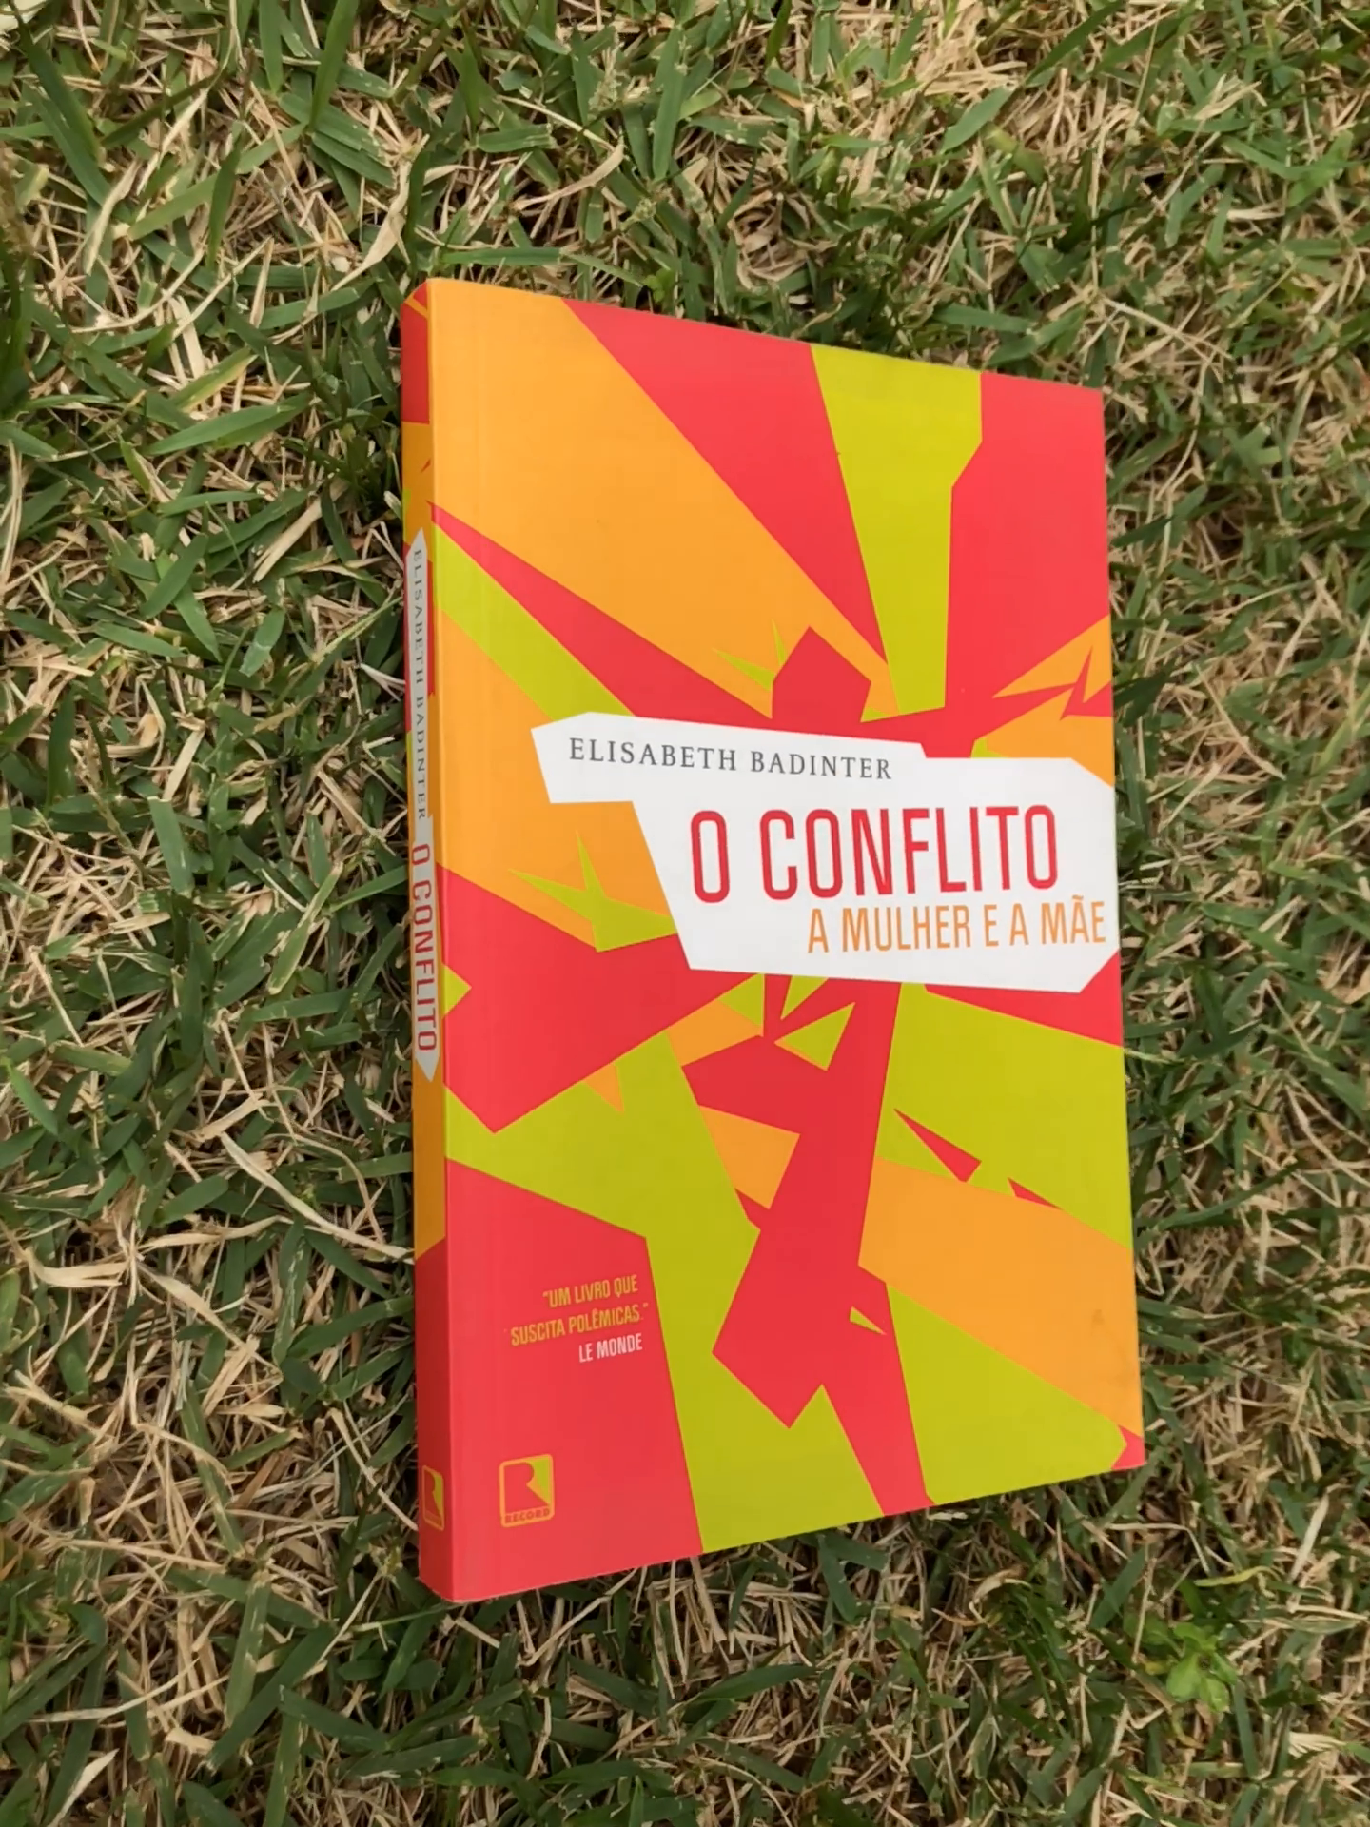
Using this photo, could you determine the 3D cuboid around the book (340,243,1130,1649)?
[{"bbox_3d":[0.011,0.003,0.252,0.130,0.020,0.200,0,87,-24],"label":"book"}]
